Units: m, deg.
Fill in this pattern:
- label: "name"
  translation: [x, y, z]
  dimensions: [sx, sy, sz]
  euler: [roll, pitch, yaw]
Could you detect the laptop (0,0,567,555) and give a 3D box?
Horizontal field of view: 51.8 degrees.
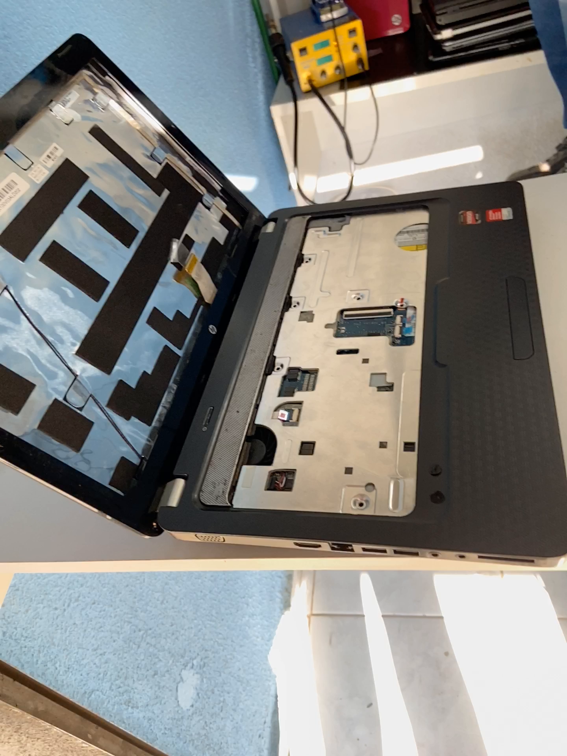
- label: "laptop"
  translation: [-0.020, -0.096, 0.378]
  dimensions: [0.349, 0.179, 0.339]
  euler: [-1, 47, 18]
